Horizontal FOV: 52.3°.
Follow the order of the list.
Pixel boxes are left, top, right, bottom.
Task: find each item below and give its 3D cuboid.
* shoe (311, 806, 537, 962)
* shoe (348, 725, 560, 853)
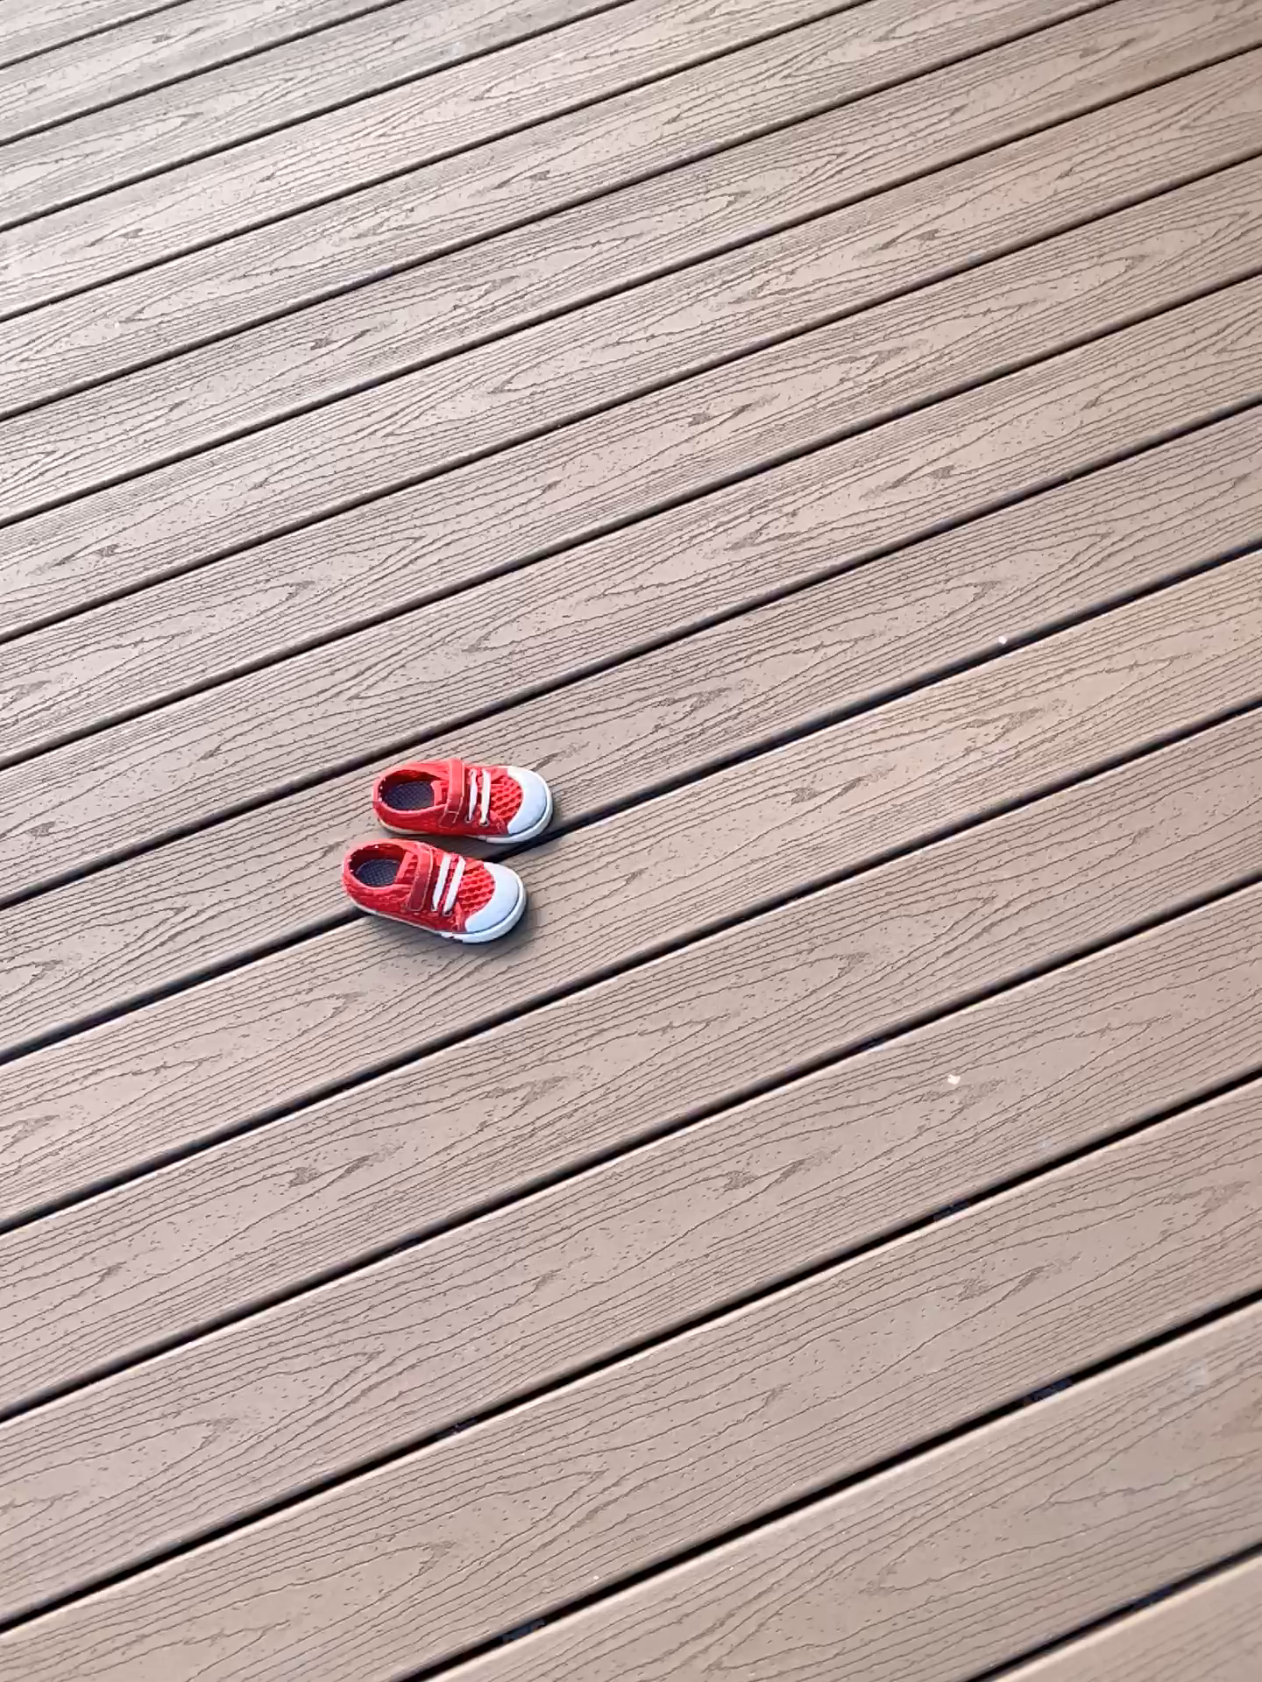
[{"bbox_3d":[-0.192,0.040,1.201,0.180,0.060,0.090,14,69,12],"label":"shoe"},{"bbox_3d":[-0.168,-0.051,1.241,0.180,0.060,0.090,6,68,9],"label":"shoe"}]
